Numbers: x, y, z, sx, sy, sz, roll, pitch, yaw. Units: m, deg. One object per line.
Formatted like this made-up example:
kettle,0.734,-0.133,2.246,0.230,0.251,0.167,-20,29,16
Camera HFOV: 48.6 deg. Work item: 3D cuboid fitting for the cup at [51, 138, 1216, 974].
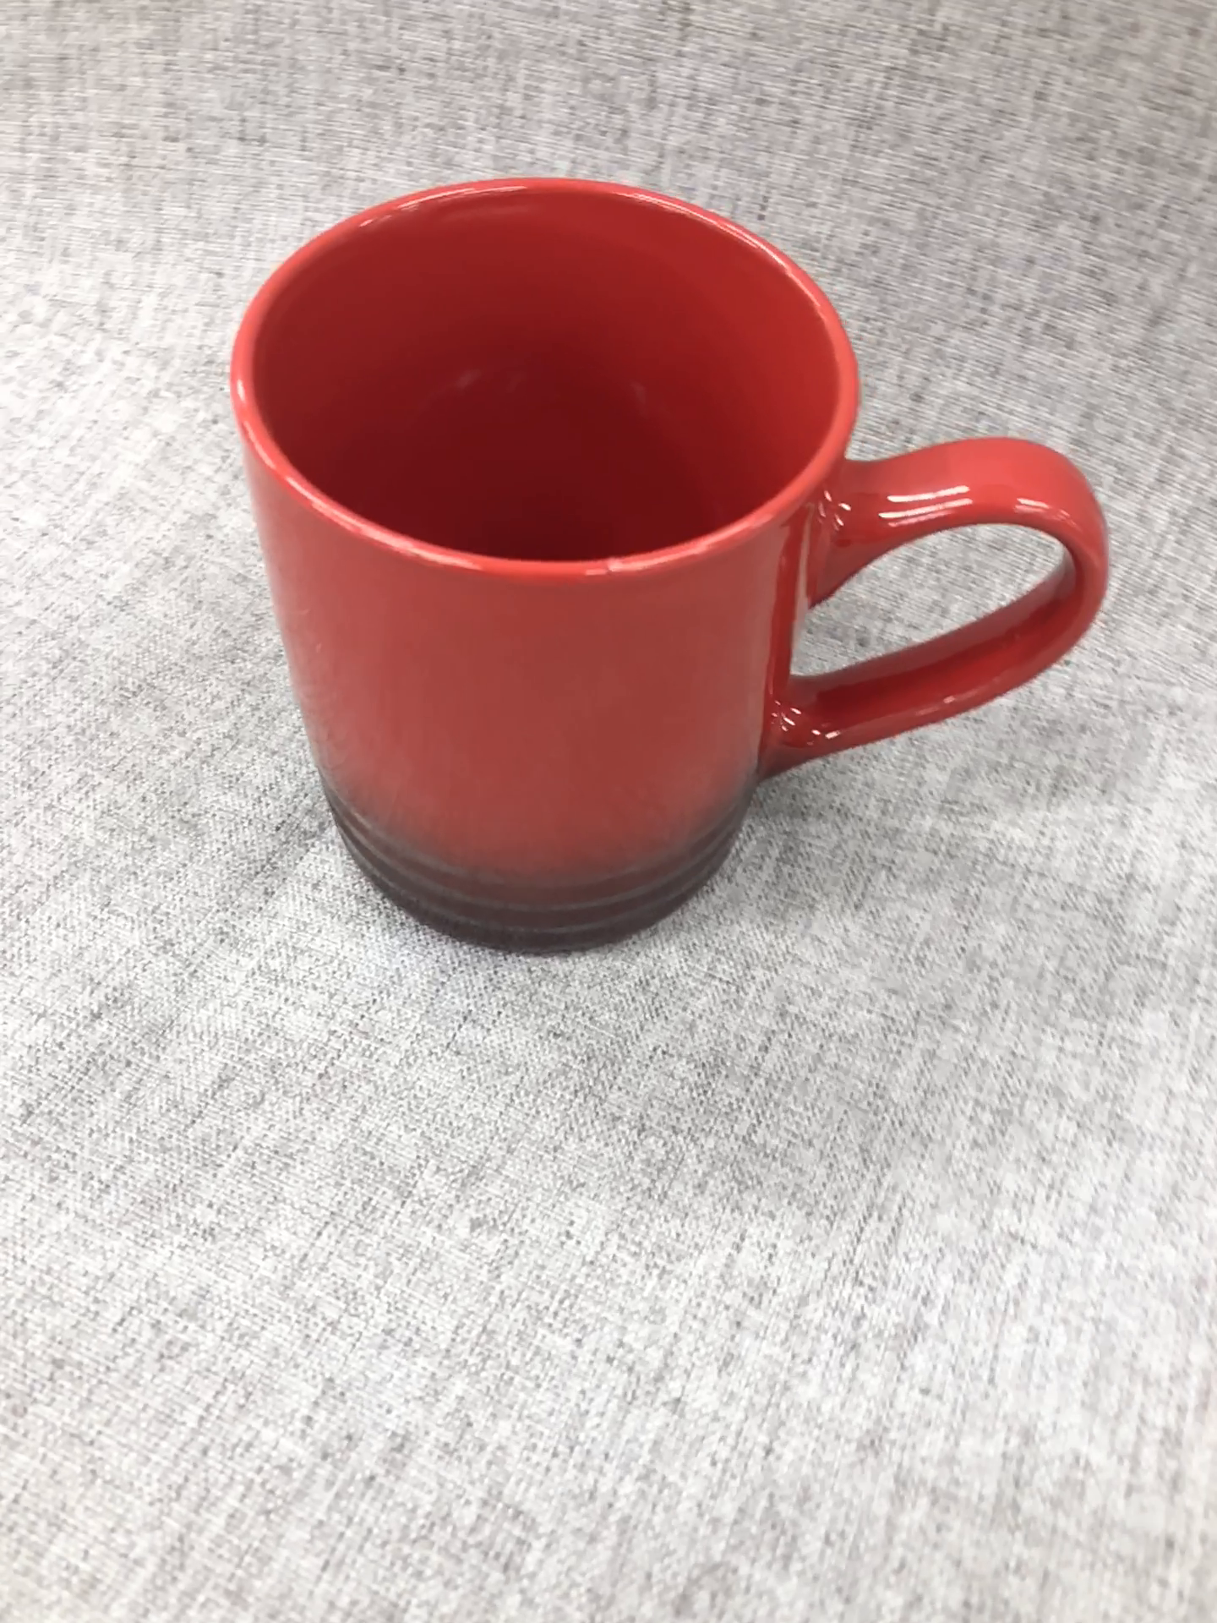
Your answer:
cup,0.008,-0.035,0.216,0.140,0.100,0.080,2,56,1
